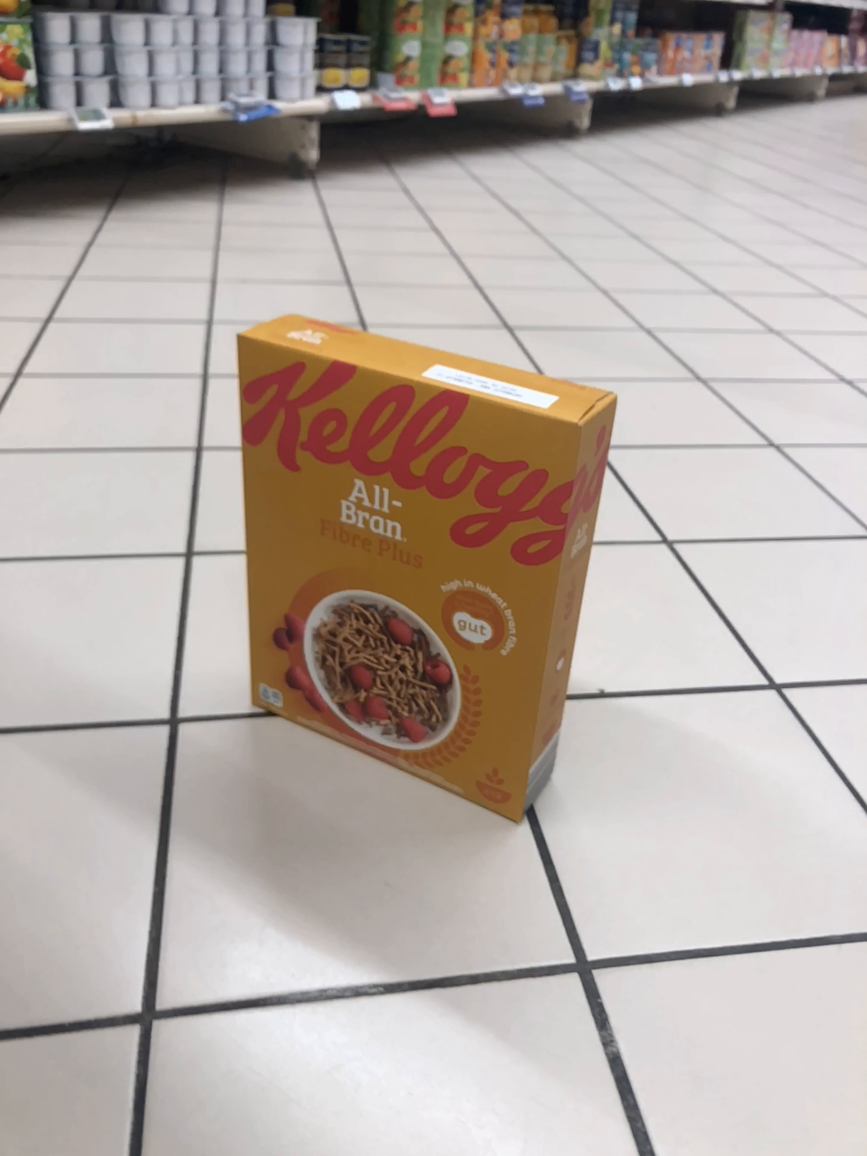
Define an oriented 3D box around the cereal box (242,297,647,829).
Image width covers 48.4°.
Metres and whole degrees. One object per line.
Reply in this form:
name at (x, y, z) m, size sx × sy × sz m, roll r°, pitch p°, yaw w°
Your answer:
cereal box at (-0.004, -0.009, 0.522) m, size 0.190 × 0.239 × 0.060 m, roll 19°, pitch 34°, yaw 24°
